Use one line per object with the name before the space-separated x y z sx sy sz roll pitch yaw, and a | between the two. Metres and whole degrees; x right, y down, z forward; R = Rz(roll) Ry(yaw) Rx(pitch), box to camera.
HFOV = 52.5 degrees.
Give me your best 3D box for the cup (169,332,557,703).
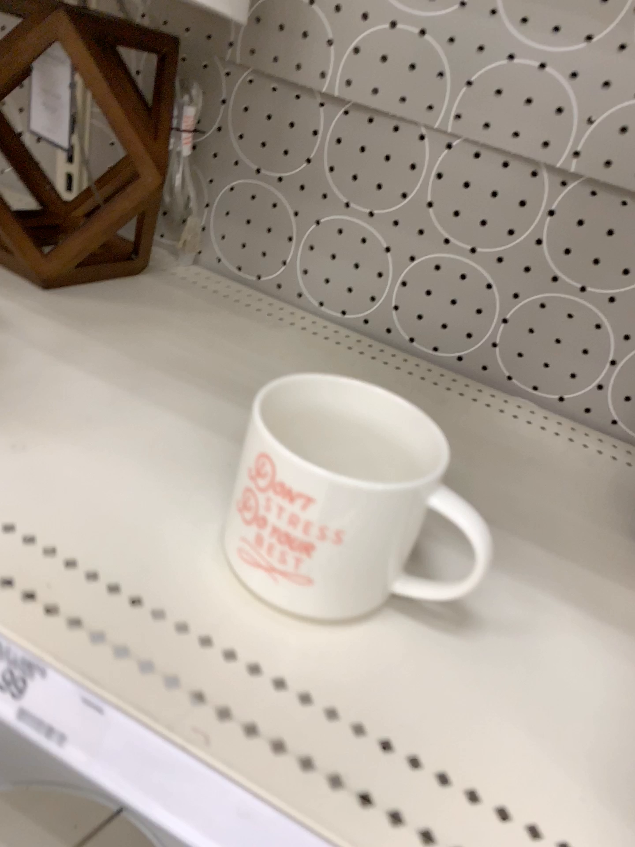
cup | 0.022 0.036 0.325 0.150 0.090 0.101 26 32 16
